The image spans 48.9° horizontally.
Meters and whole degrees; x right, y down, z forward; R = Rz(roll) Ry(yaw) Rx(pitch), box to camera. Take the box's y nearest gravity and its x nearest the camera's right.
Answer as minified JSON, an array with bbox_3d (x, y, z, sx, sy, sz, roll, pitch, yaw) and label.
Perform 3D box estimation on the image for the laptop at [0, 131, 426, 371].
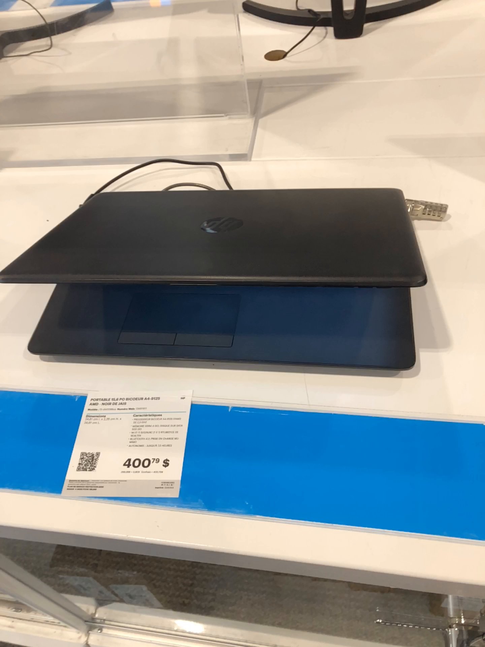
[{"bbox_3d":[-0.023,-0.082,0.526,0.366,0.092,0.235,2,51,7],"label":"laptop"}]
